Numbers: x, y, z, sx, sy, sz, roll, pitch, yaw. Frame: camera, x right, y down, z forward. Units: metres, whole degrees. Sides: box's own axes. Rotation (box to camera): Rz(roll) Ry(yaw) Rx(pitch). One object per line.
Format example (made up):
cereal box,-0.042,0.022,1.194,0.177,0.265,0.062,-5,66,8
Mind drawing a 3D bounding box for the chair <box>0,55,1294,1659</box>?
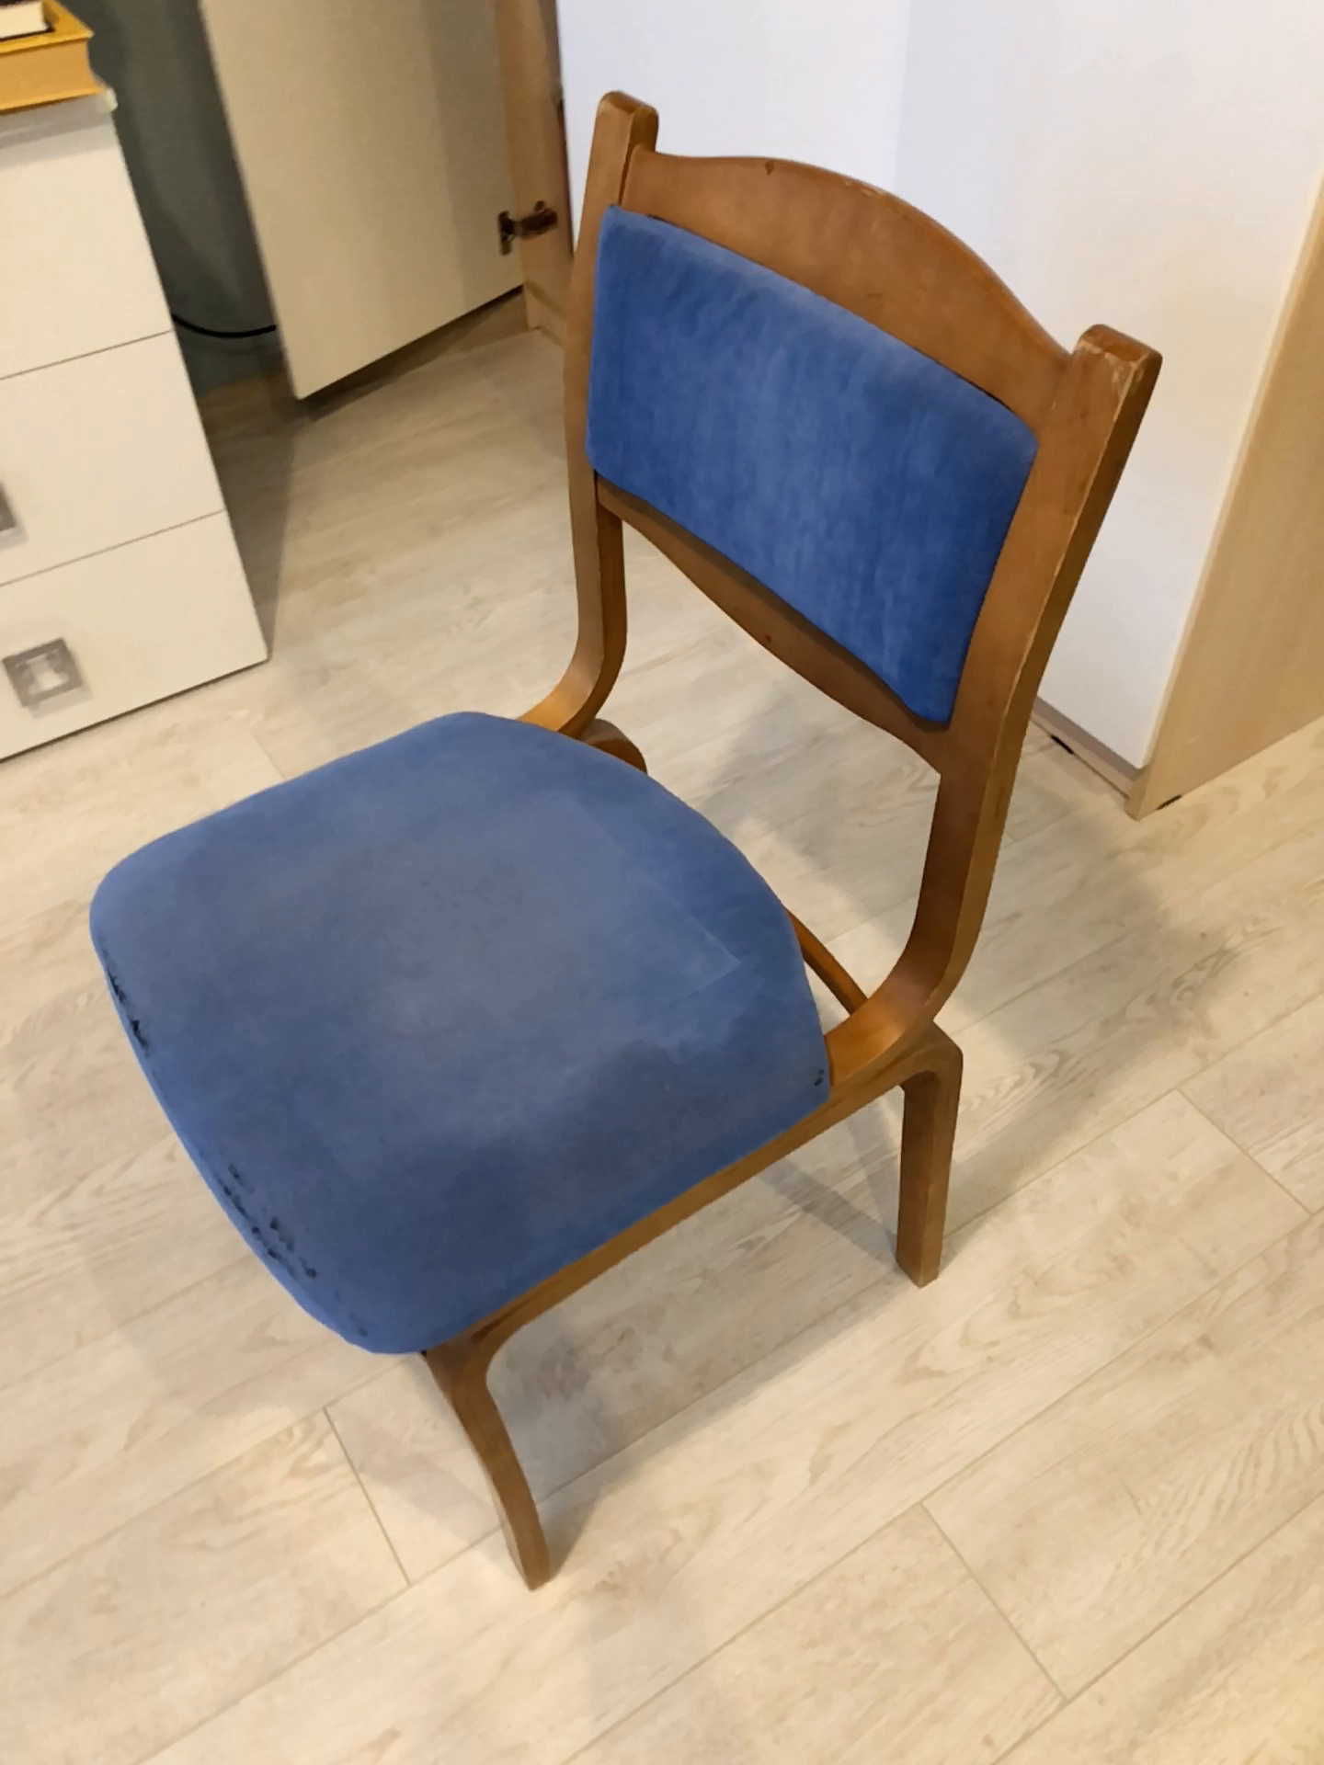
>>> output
chair,-0.059,0.032,0.918,0.471,0.805,0.452,-29,54,-22
